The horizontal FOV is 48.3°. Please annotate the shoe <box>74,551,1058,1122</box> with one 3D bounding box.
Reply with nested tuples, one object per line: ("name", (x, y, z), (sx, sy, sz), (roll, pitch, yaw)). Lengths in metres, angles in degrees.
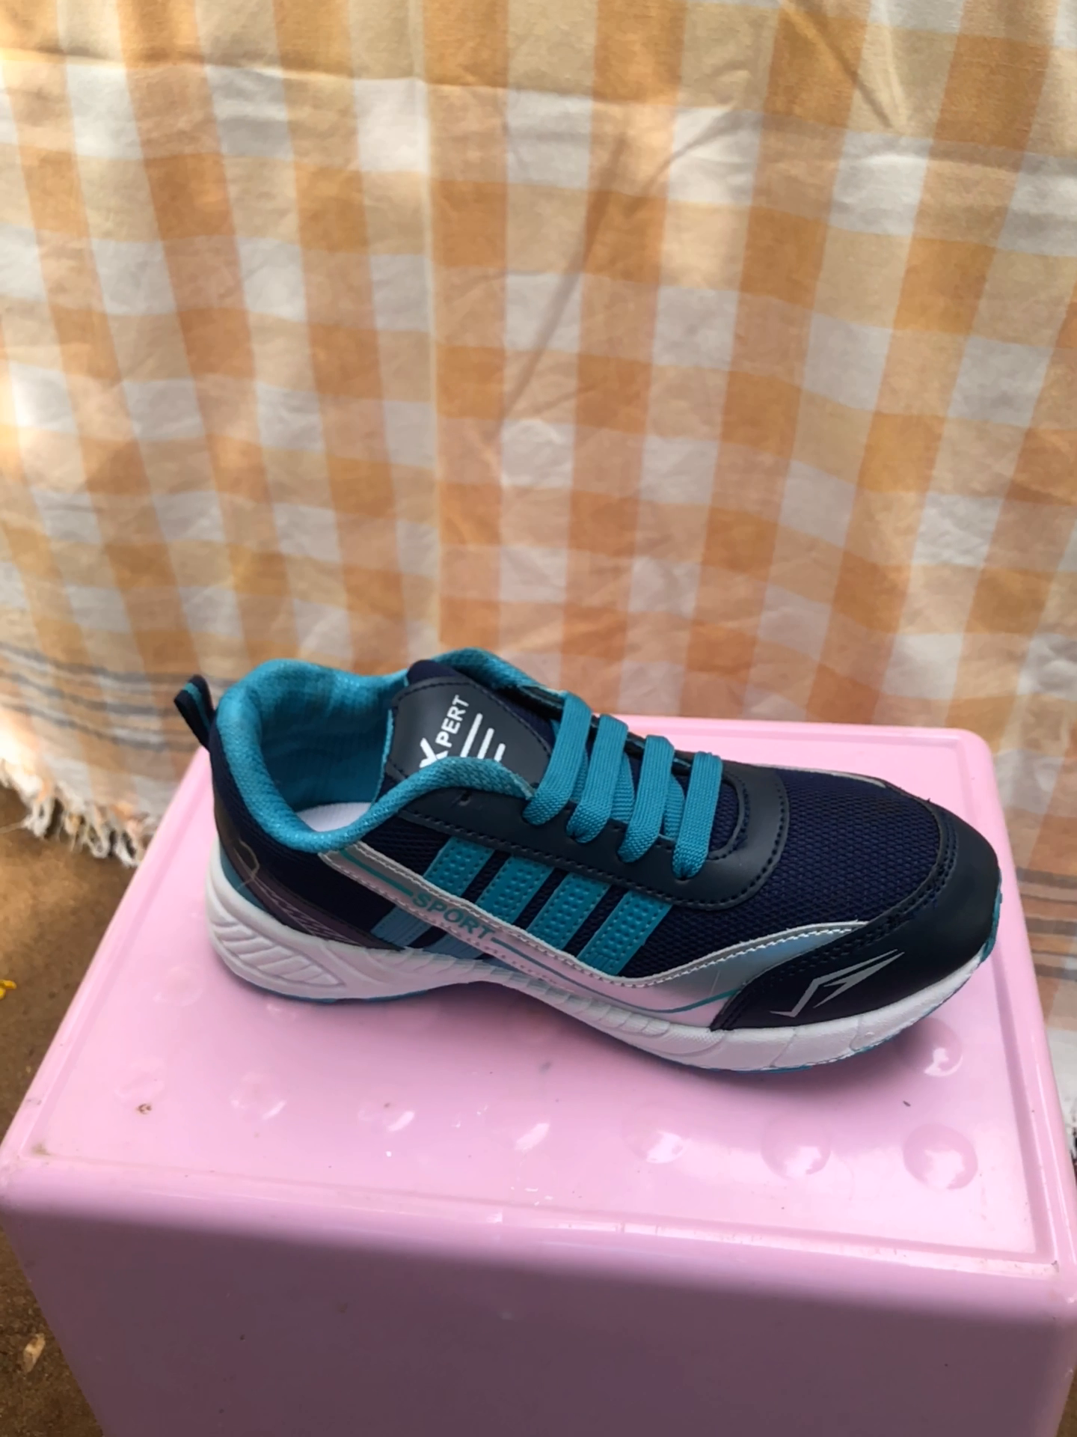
("shoe", (0.011, 0.034, 0.401), (0.270, 0.109, 0.111), (7, 43, 9))
